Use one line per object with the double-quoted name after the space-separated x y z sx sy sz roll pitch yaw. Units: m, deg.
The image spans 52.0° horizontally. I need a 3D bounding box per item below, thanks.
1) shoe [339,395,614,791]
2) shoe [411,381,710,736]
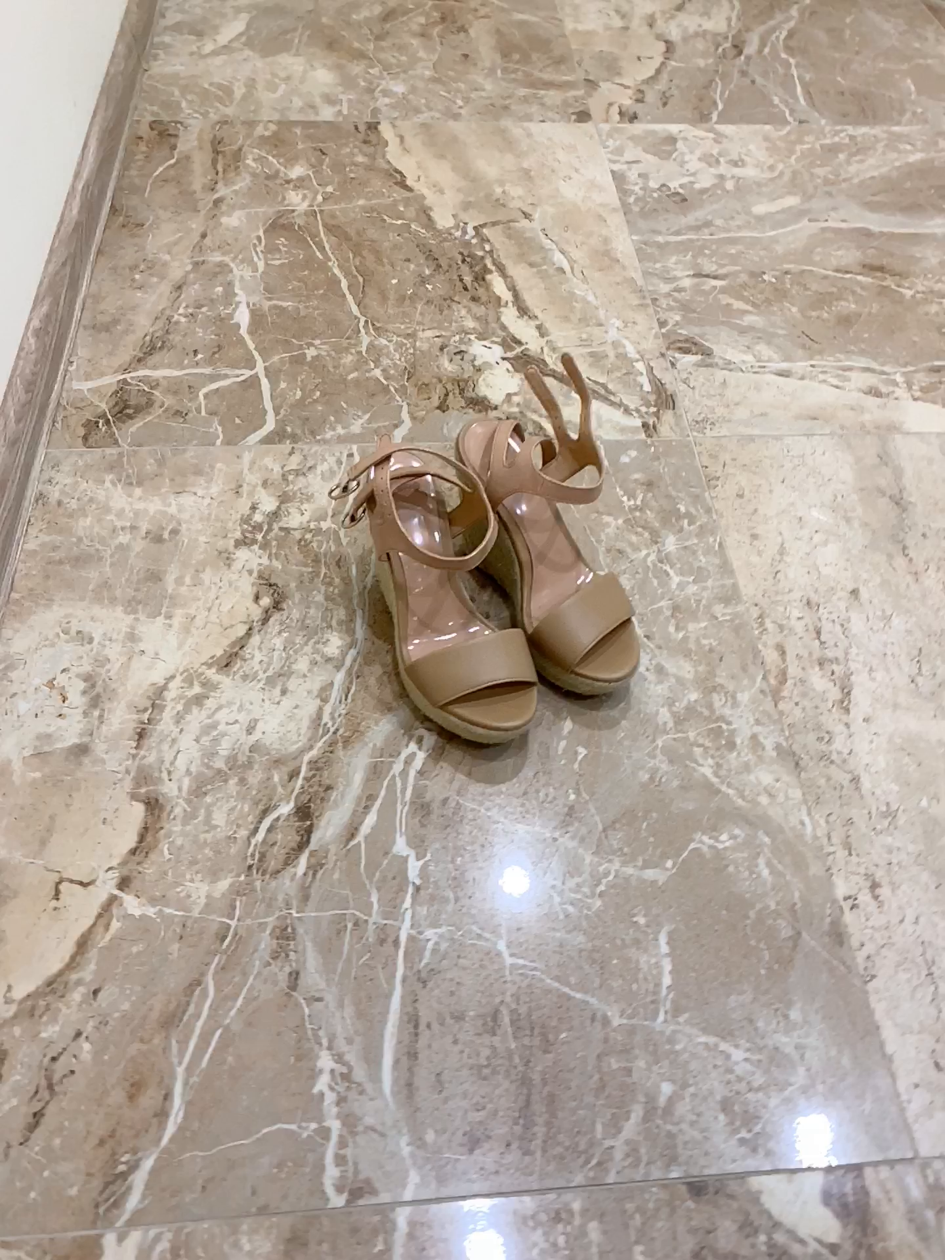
-0.007 -0.027 0.665 0.090 0.149 0.211 -19 57 -17 "shoe"
0.050 -0.055 0.698 0.090 0.129 0.211 -28 59 -22 "shoe"
